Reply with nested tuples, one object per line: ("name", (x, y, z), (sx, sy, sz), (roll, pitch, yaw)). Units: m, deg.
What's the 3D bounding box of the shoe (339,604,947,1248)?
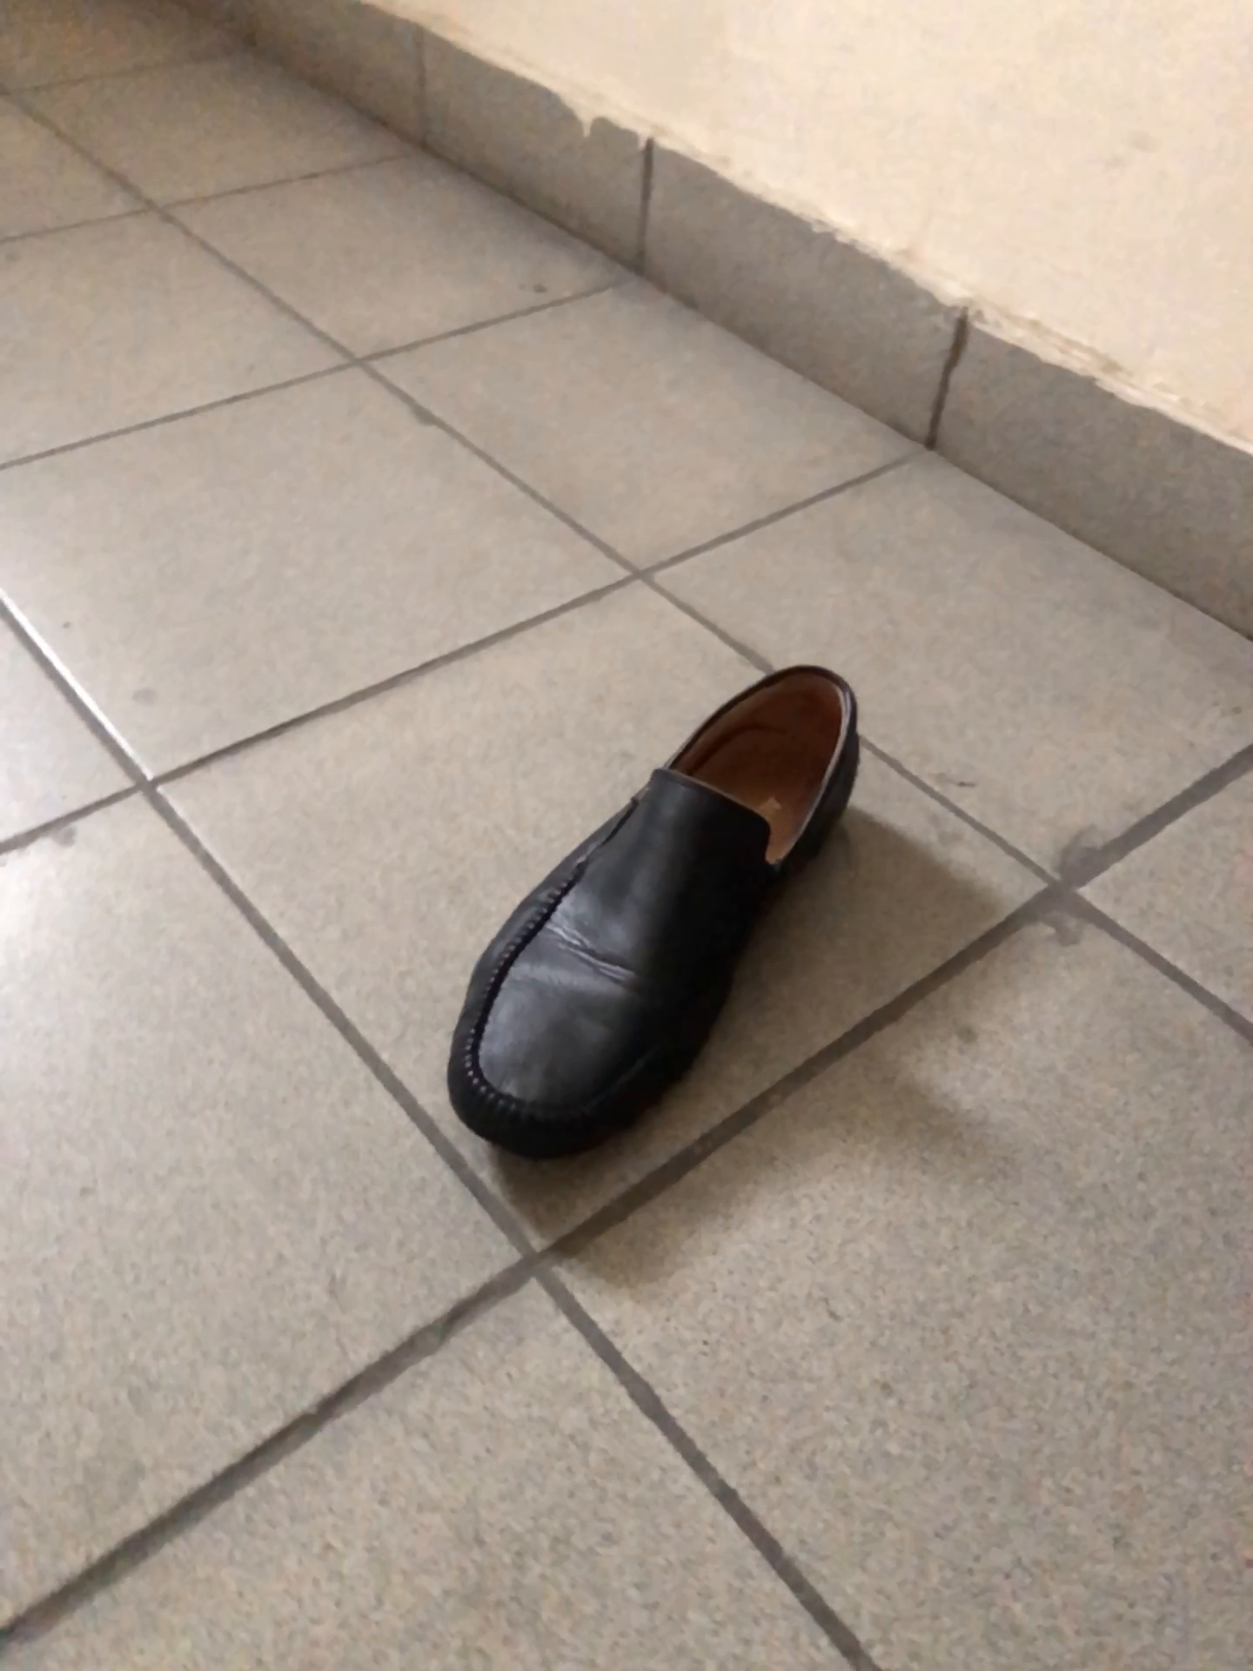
("shoe", (0.018, 0.020, 0.569), (0.107, 0.079, 0.271), (27, 50, 21))
